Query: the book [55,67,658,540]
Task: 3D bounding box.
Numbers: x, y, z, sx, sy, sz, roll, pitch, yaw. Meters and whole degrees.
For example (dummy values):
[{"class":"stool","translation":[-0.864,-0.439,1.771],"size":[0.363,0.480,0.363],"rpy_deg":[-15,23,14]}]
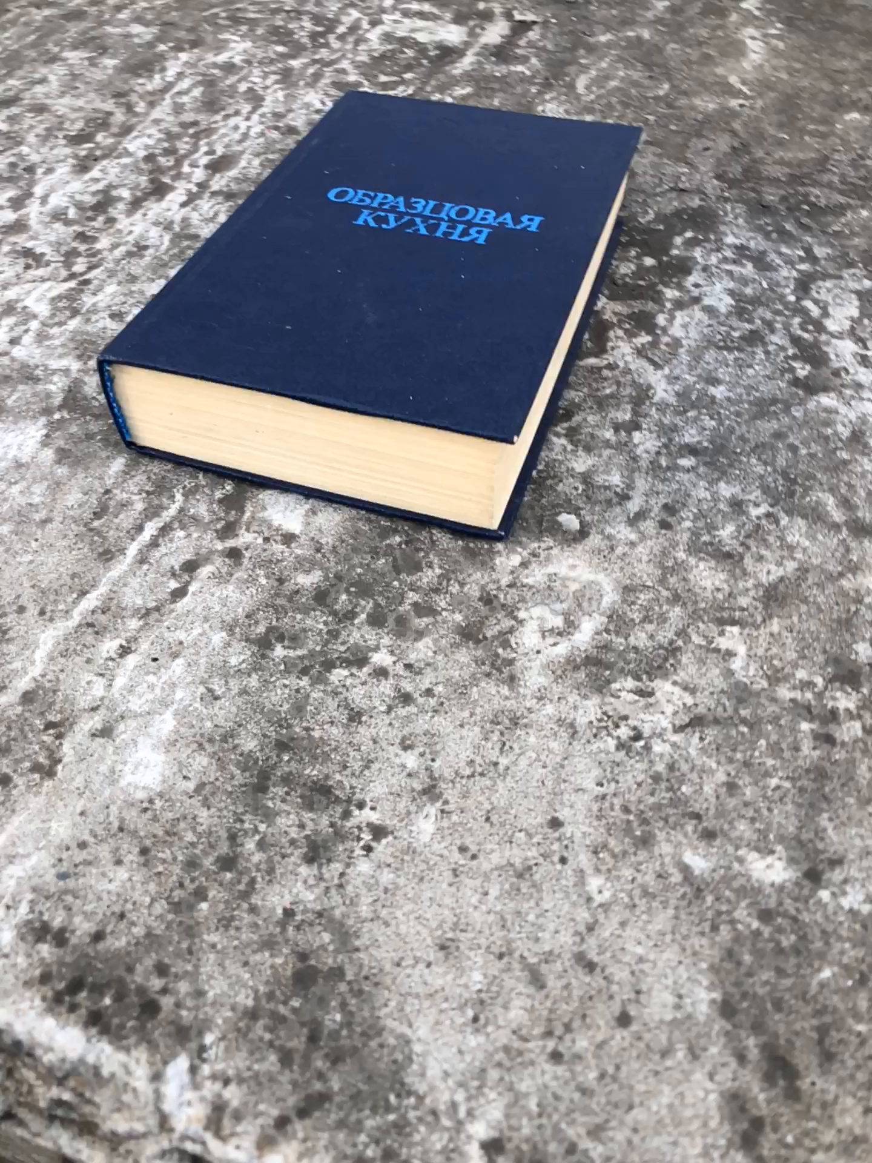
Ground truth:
[{"class":"book","translation":[-0.010,-0.115,0.345],"size":[0.140,0.040,0.211],"rpy_deg":[14,49,11]}]
